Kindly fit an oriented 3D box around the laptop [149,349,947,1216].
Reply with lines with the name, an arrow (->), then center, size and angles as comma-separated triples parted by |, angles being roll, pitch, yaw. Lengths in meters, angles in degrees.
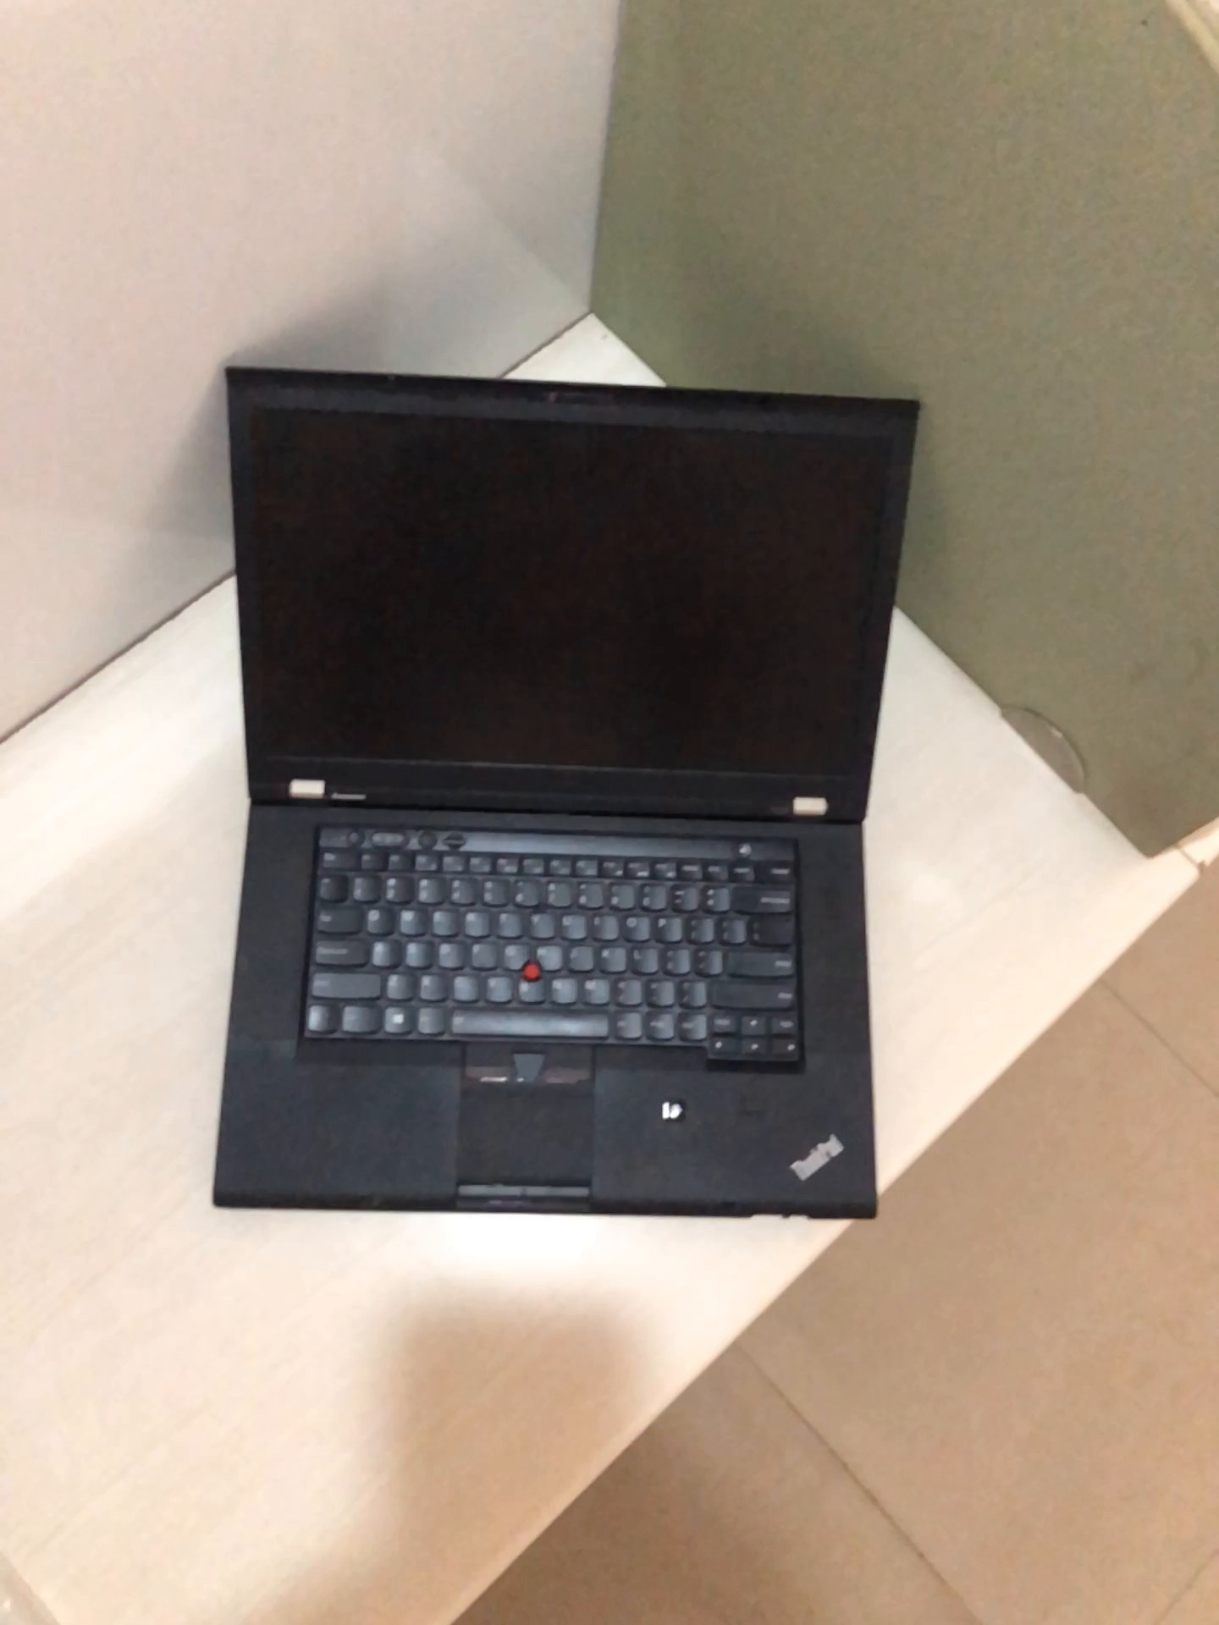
laptop -> -0.021, -0.006, 0.706 | 0.353, 0.142, 0.411 | 2, 77, -2
